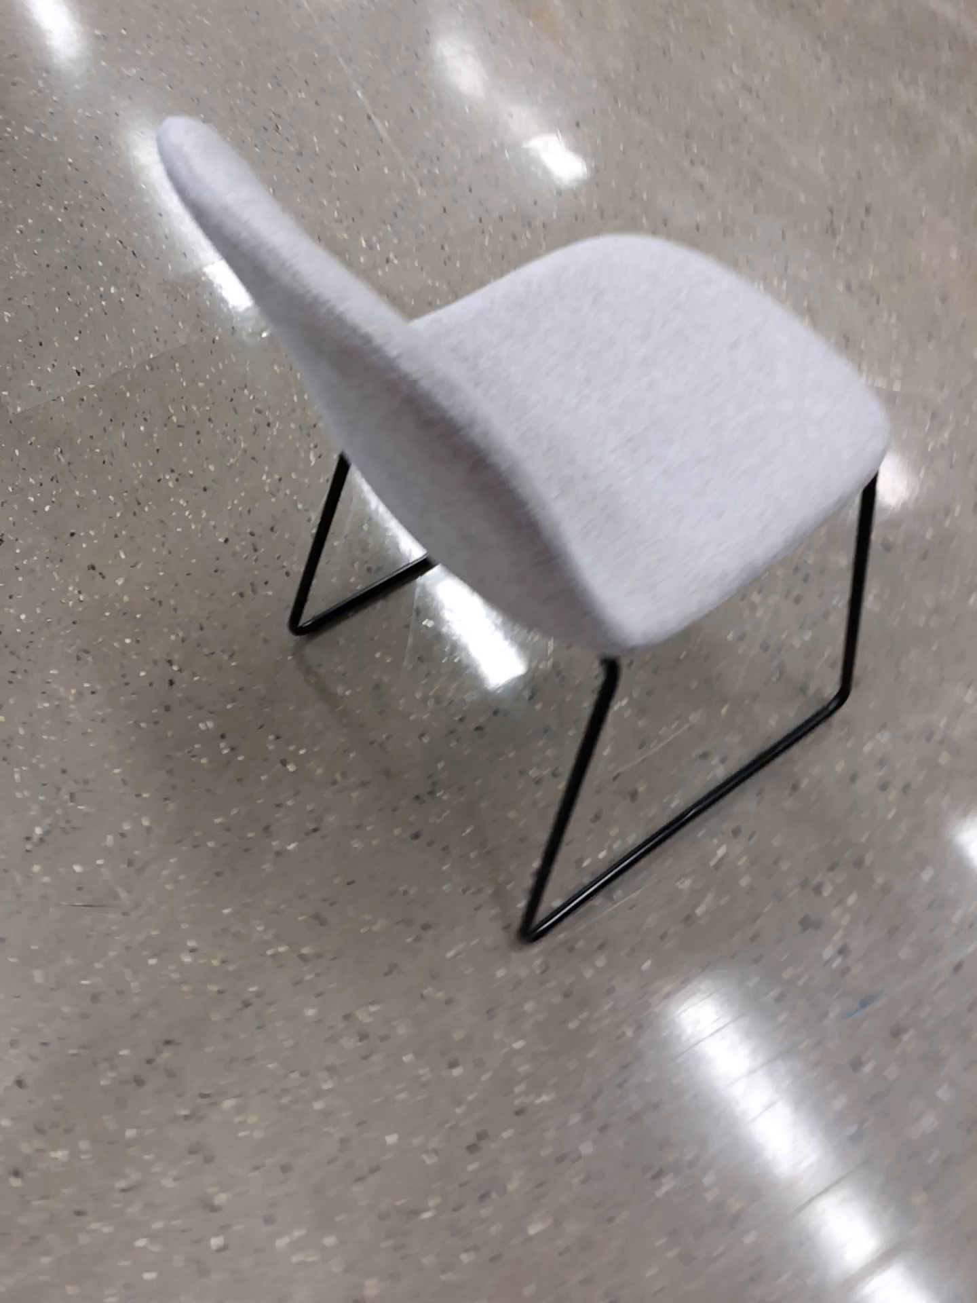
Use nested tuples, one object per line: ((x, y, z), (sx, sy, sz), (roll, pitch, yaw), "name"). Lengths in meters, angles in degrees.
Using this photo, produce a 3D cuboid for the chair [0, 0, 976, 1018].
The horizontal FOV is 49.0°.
((0.089, -0.166, 0.985), (0.580, 0.779, 0.591), (-31, 63, -15), "chair")
